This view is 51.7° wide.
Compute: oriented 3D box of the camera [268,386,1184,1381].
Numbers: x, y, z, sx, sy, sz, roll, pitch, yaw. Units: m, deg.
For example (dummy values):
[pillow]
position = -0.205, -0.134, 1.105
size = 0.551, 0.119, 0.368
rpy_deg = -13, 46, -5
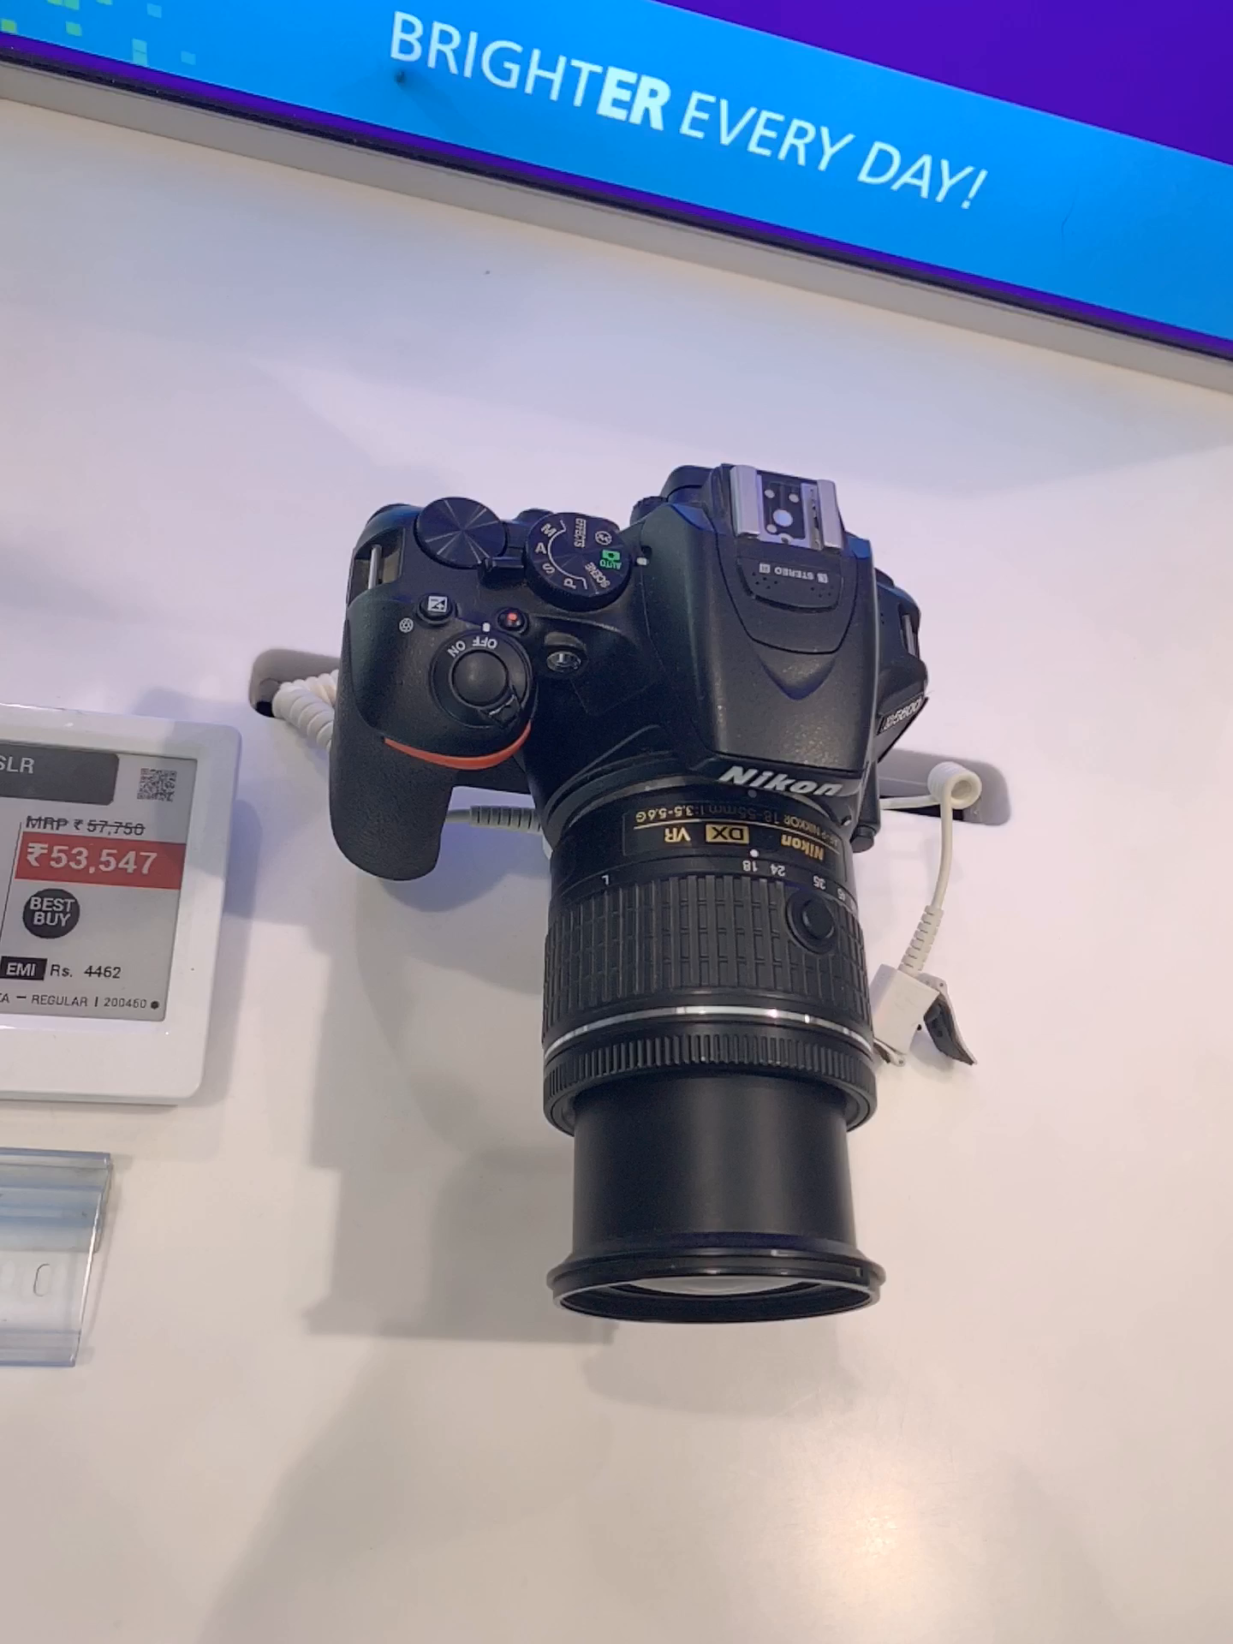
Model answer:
[camera]
position = 0.004, 0.019, 0.231
size = 0.116, 0.100, 0.141
rpy_deg = 5, 60, -13
